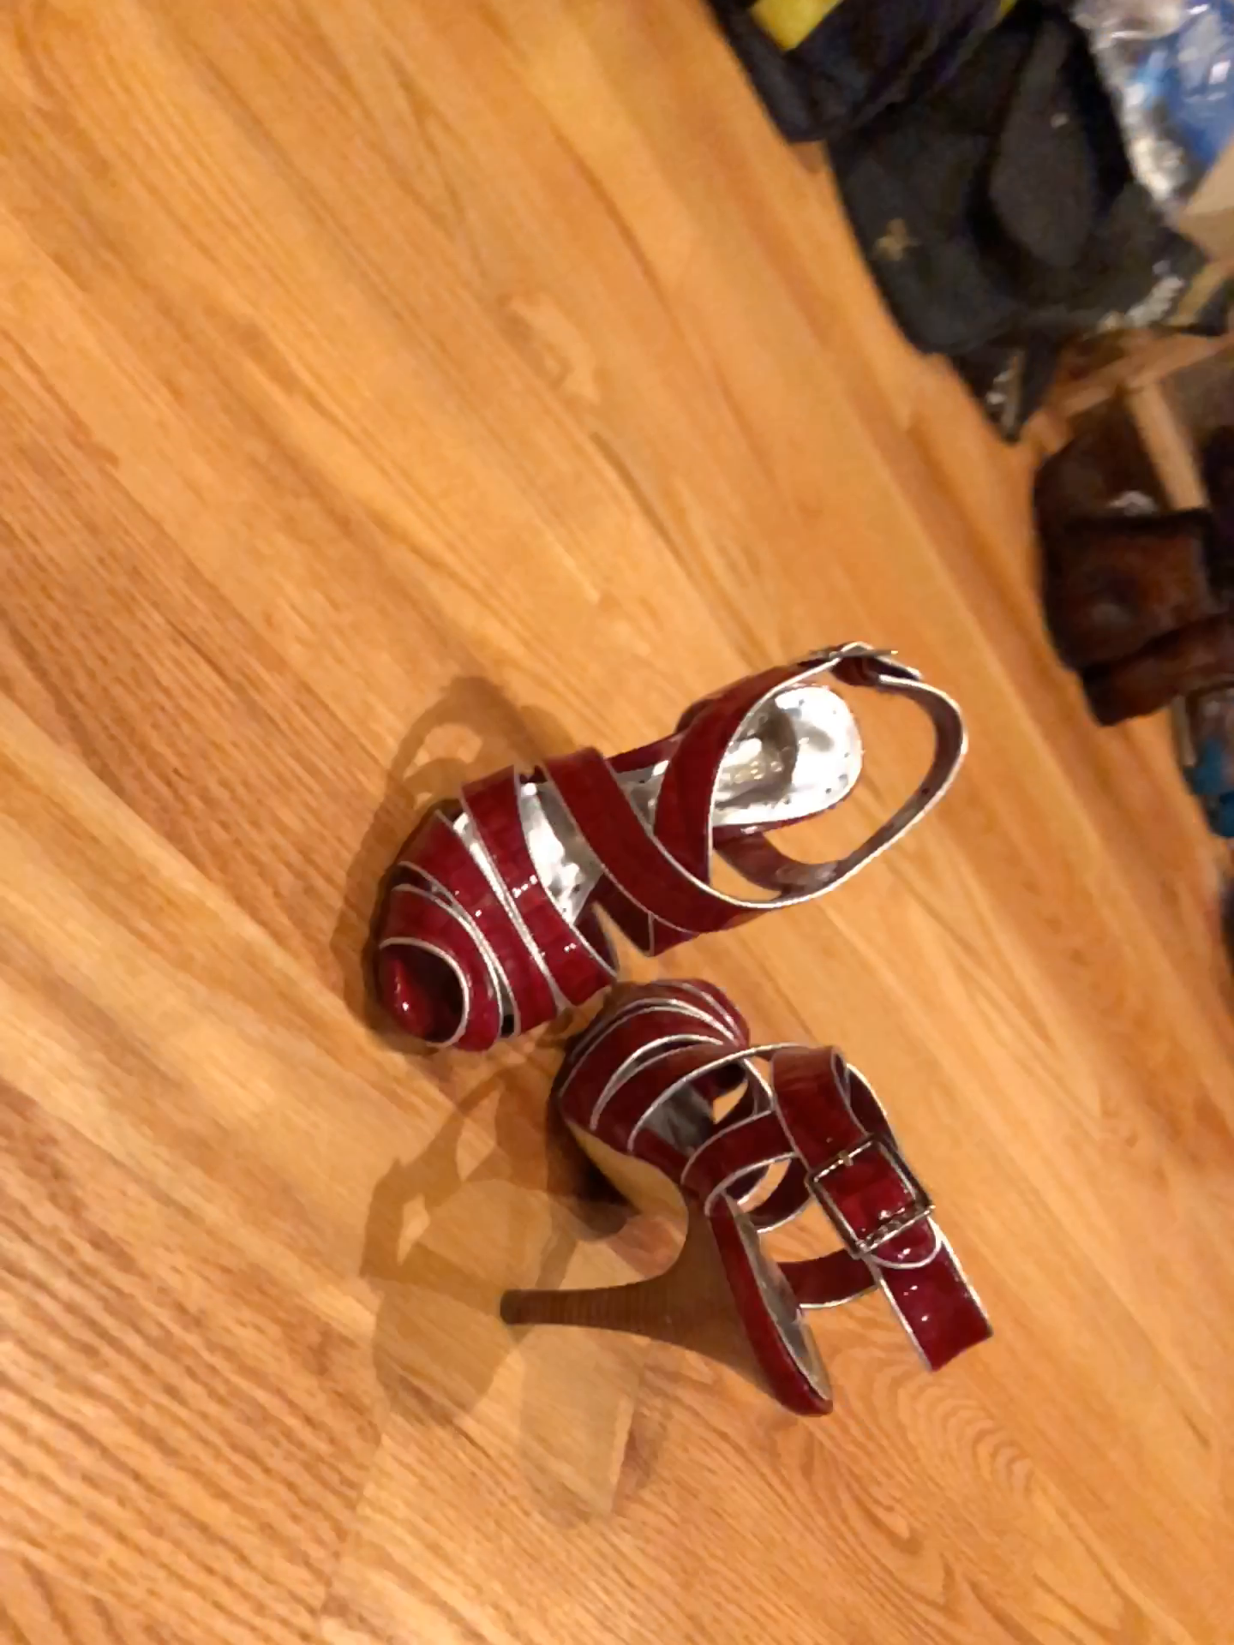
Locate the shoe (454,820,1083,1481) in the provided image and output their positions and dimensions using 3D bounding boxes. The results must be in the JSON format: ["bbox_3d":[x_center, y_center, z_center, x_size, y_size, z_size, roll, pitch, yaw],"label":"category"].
[{"bbox_3d":[0.064,0.106,0.464,0.092,0.141,0.194,59,35,-19],"label":"shoe"}]

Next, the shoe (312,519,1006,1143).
[{"bbox_3d":[0.027,-0.003,0.464,0.091,0.151,0.199,61,34,-16],"label":"shoe"}]
